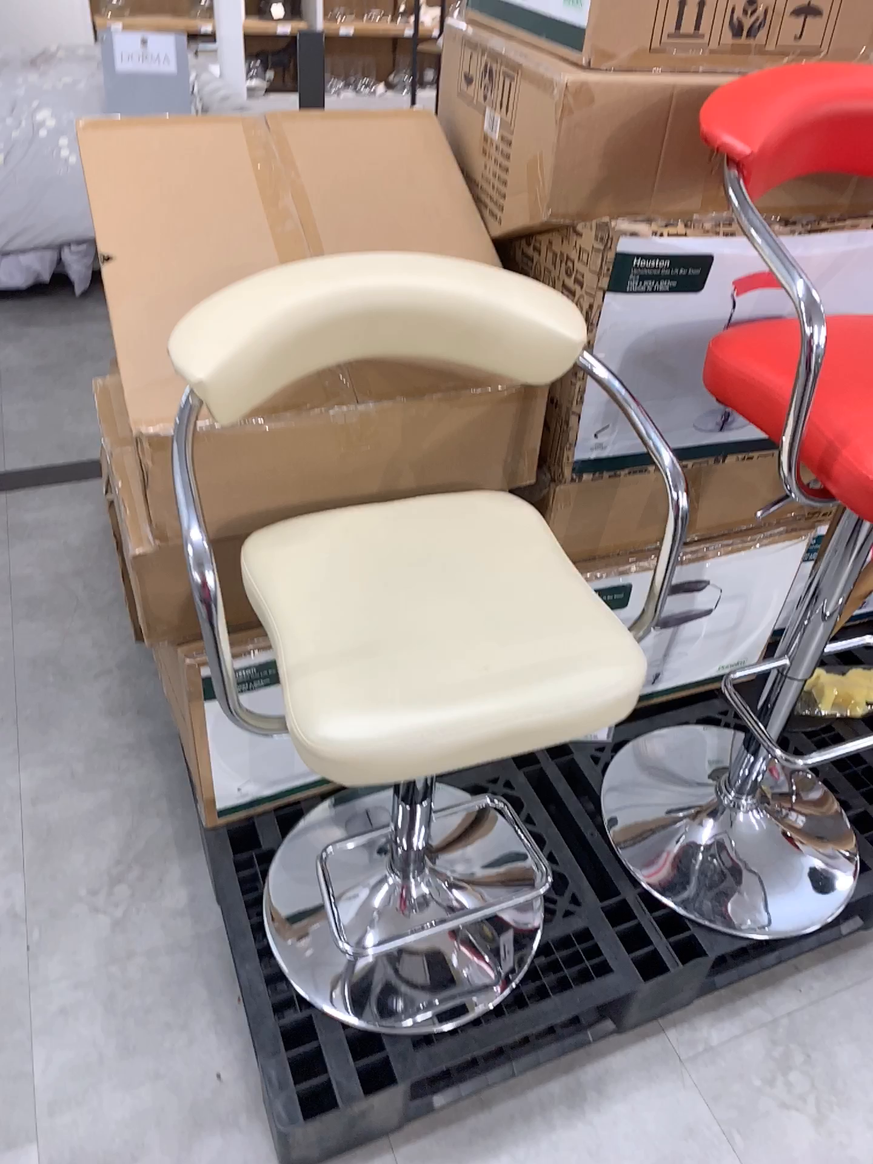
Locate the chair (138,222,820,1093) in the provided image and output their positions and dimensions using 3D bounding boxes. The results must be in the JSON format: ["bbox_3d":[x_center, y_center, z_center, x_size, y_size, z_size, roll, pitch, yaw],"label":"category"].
[{"bbox_3d":[-0.029,0.090,1.067,0.464,0.840,0.504,-11,40,-19],"label":"chair"}]

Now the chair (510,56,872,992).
[{"bbox_3d":[0.482,-0.045,1.180,0.474,1.058,0.524,-11,40,-19],"label":"chair"}]
